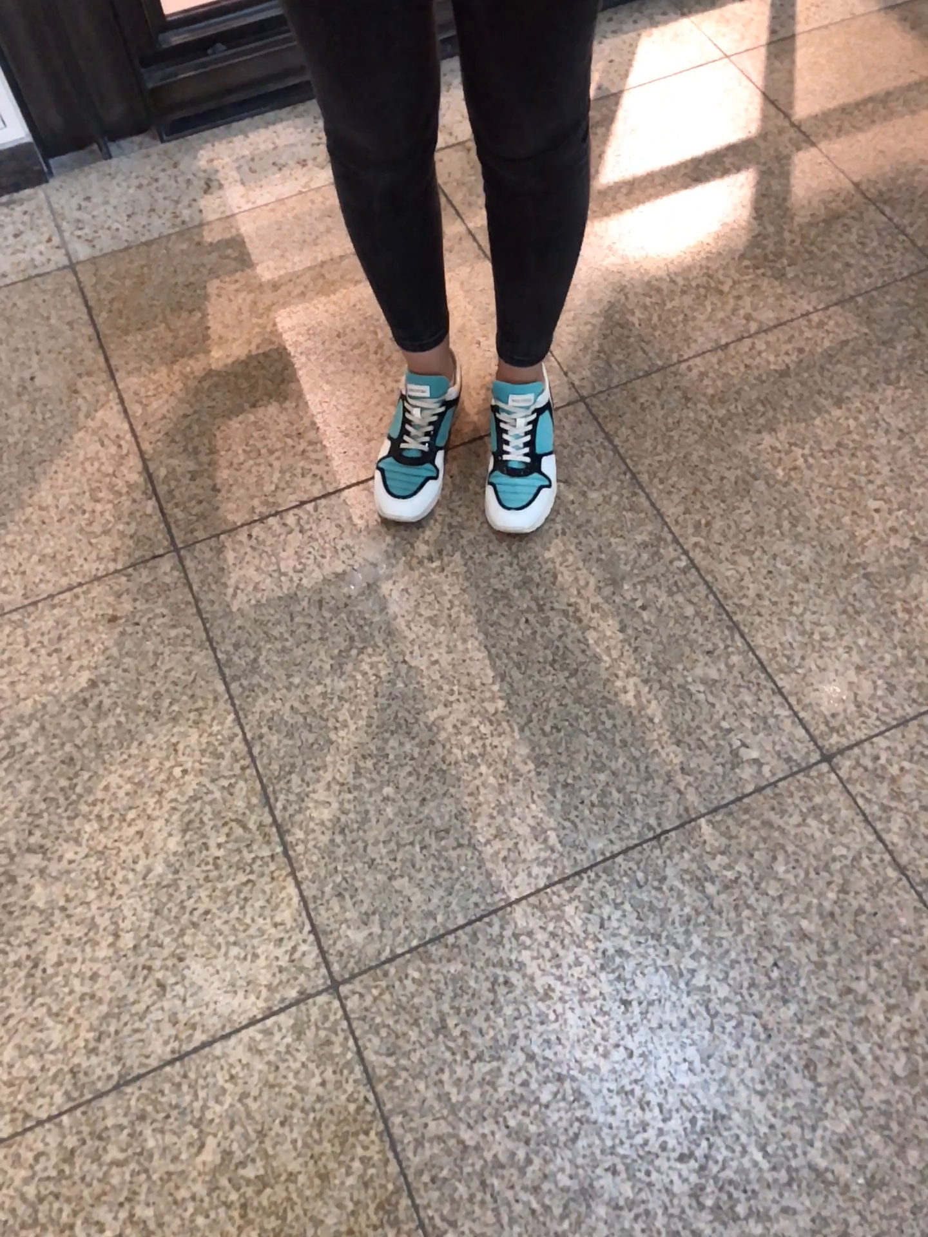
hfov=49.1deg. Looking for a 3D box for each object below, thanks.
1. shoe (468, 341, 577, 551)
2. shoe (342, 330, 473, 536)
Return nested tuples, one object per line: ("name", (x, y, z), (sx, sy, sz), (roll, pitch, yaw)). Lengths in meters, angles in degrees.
("shoe", (0.077, -0.221, 1.286), (0.110, 0.100, 0.251), (5, 60, 6))
("shoe", (-0.066, -0.238, 1.289), (0.107, 0.100, 0.241), (8, 60, 8))
